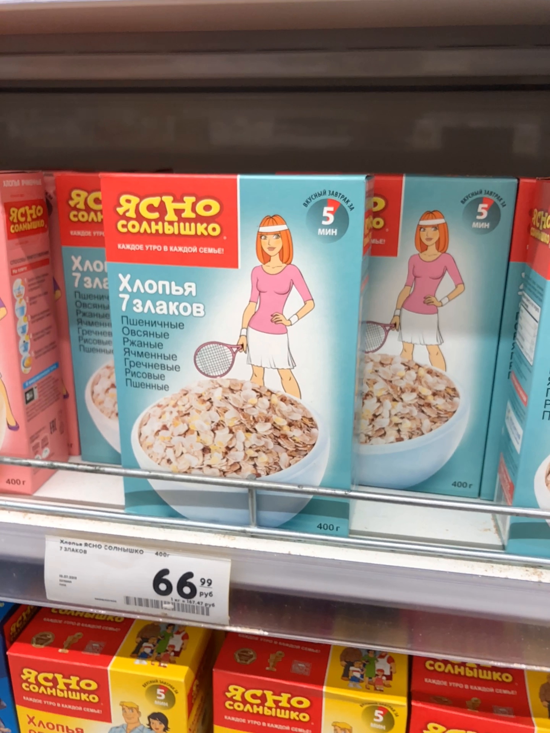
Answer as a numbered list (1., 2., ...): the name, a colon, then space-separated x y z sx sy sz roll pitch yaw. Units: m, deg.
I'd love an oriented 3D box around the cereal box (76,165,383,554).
1. cereal box: -0.021 -0.006 0.326 0.140 0.189 0.050 4 18 12
